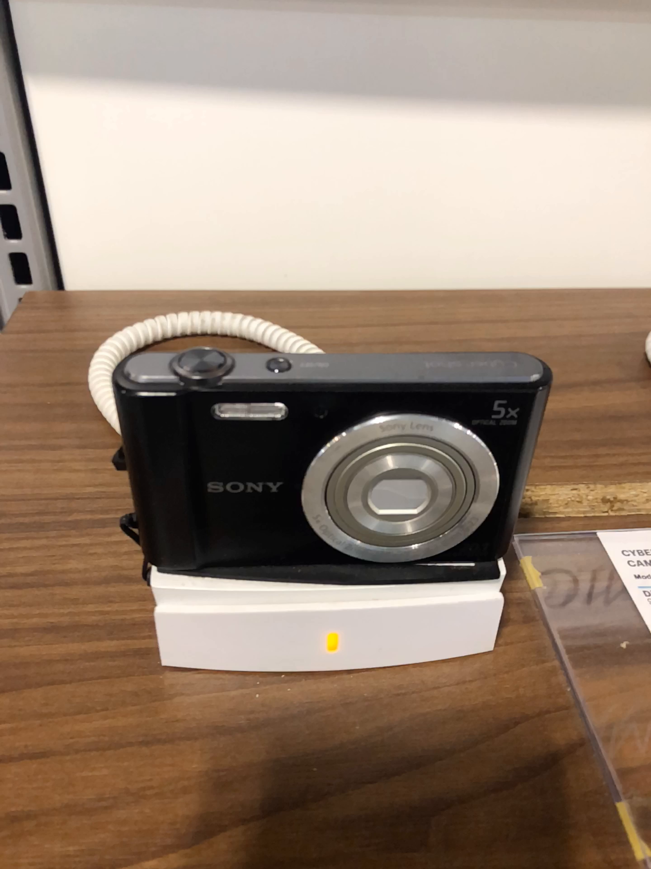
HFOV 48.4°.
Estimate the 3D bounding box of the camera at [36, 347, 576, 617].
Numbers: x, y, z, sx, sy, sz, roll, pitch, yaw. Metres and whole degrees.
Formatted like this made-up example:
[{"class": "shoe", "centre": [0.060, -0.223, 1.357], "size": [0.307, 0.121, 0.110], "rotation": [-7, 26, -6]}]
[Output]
[{"class": "camera", "centre": [-0.004, 0.011, 0.160], "size": [0.100, 0.050, 0.030], "rotation": [1, 34, 0]}]
